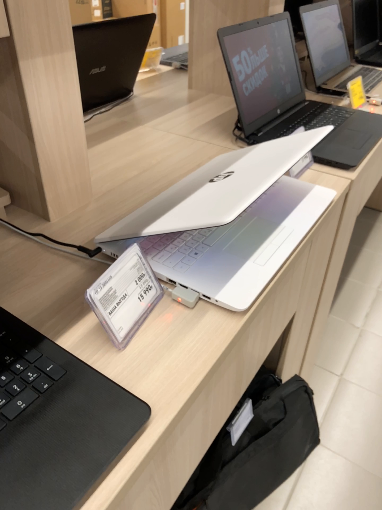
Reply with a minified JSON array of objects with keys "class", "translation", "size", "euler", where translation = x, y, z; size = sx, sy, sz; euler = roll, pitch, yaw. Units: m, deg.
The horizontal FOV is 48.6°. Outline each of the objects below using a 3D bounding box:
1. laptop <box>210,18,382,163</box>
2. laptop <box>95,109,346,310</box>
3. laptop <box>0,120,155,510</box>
[{"class":"laptop","translation":[0.297,-0.424,1.024],"size":[0.349,0.219,0.393],"euler":[20,38,25]},{"class":"laptop","translation":[0.068,-0.107,0.671],"size":[0.232,0.103,0.369],"euler":[23,41,24]},{"class":"laptop","translation":[-0.299,0.090,0.286],"size":[0.368,0.203,0.388],"euler":[21,39,26]}]
